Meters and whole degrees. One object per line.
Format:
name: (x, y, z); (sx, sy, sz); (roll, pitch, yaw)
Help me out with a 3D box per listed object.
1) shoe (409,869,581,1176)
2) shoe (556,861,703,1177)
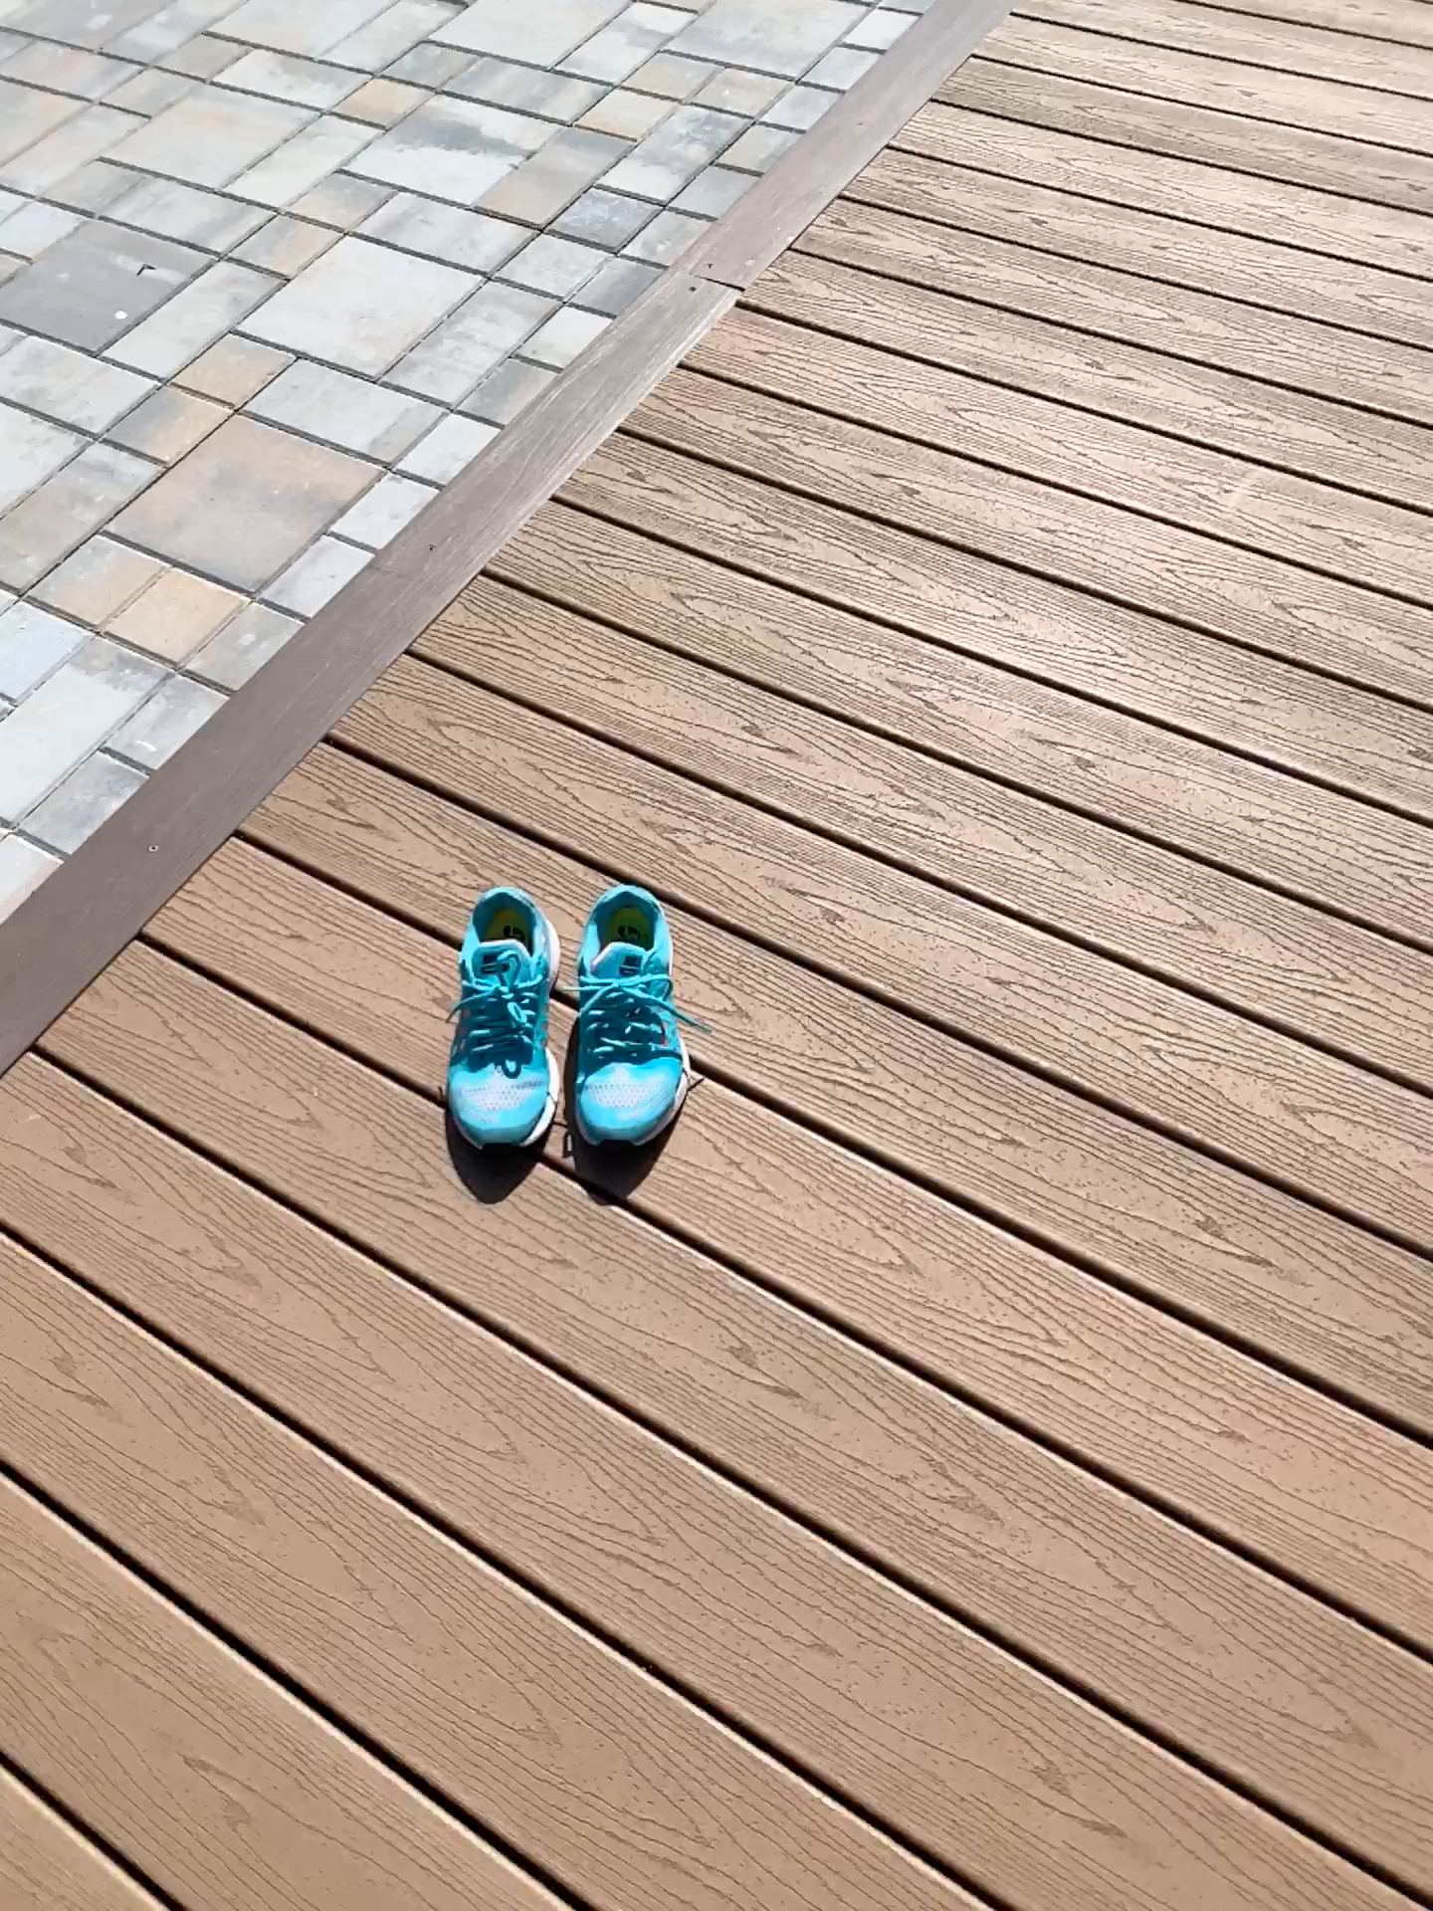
shoe: (-0.186, 0.054, 1.262); (0.110, 0.080, 0.261); (-1, 57, 3)
shoe: (-0.073, 0.050, 1.248); (0.110, 0.080, 0.261); (-4, 56, 2)
